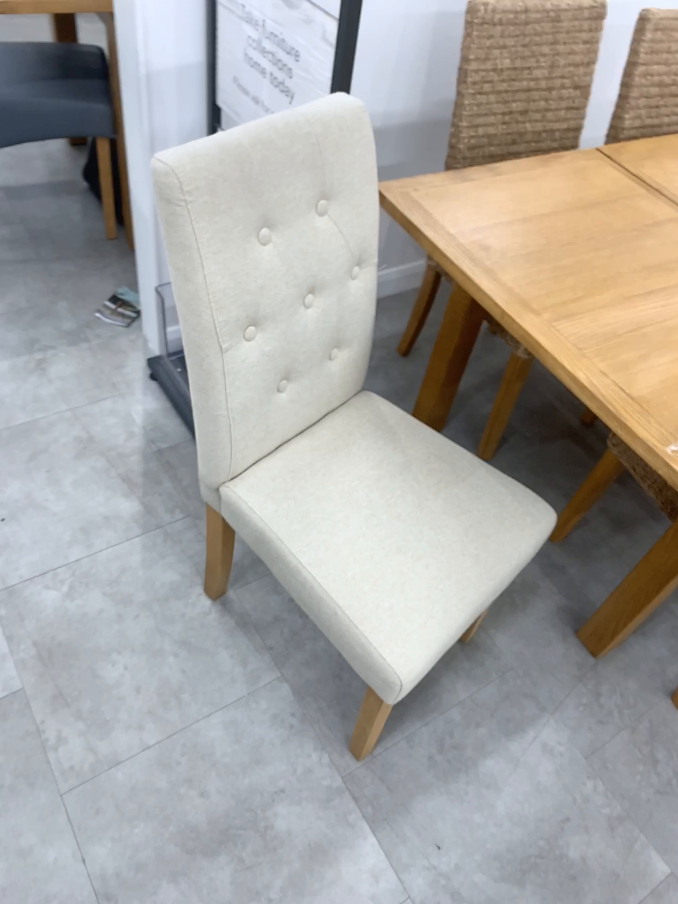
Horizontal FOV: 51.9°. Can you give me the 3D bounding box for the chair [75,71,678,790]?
[{"bbox_3d":[0.017,0.012,1.101,0.612,0.872,0.422,36,52,21],"label":"chair"}]
